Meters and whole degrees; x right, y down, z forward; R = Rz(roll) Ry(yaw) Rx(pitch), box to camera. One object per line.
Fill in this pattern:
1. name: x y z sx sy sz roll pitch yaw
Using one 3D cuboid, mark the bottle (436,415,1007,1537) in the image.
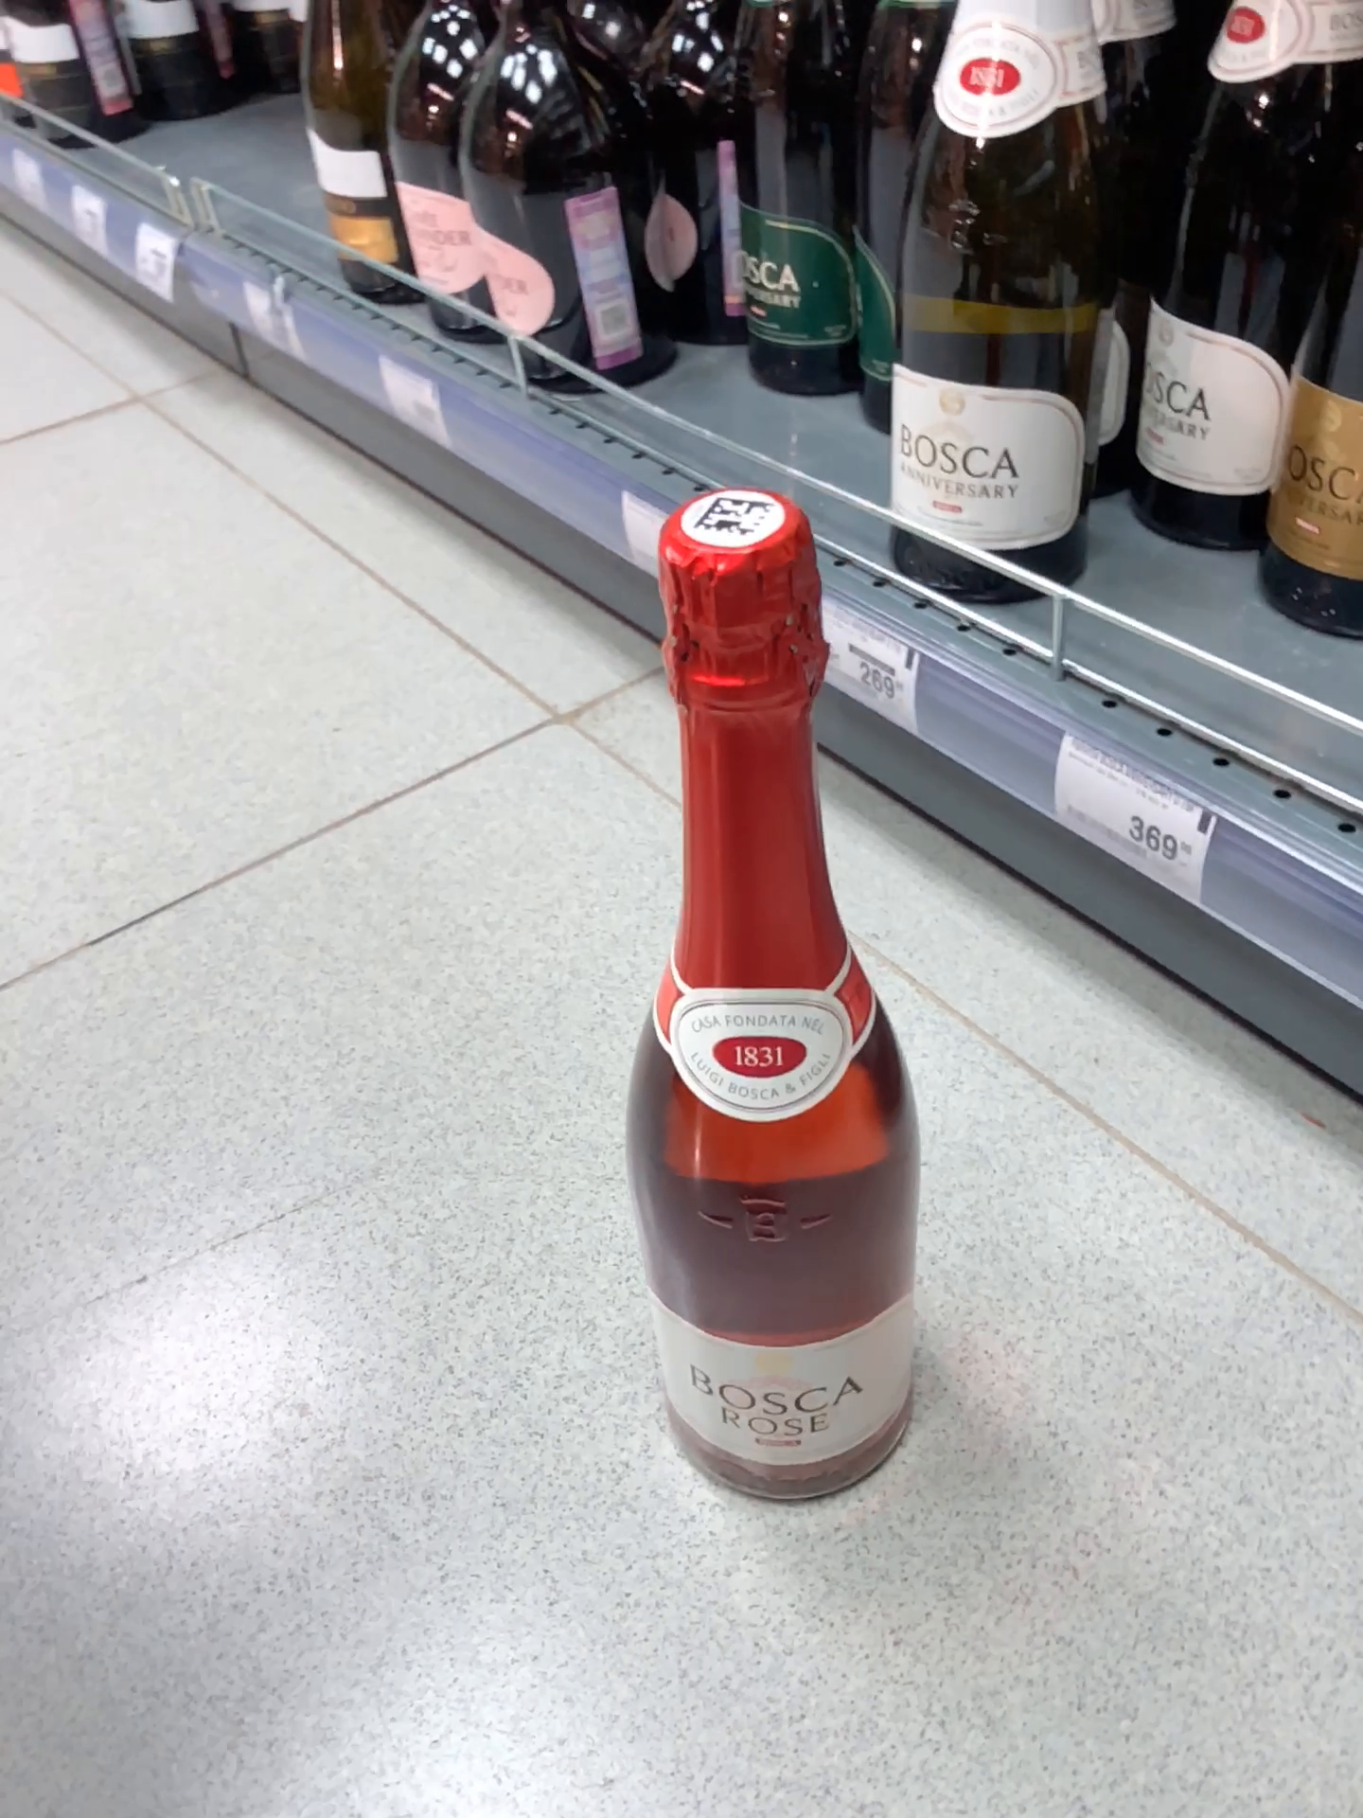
1. bottle: 0.027 0.040 0.409 0.100 0.317 0.101 -4 41 3
